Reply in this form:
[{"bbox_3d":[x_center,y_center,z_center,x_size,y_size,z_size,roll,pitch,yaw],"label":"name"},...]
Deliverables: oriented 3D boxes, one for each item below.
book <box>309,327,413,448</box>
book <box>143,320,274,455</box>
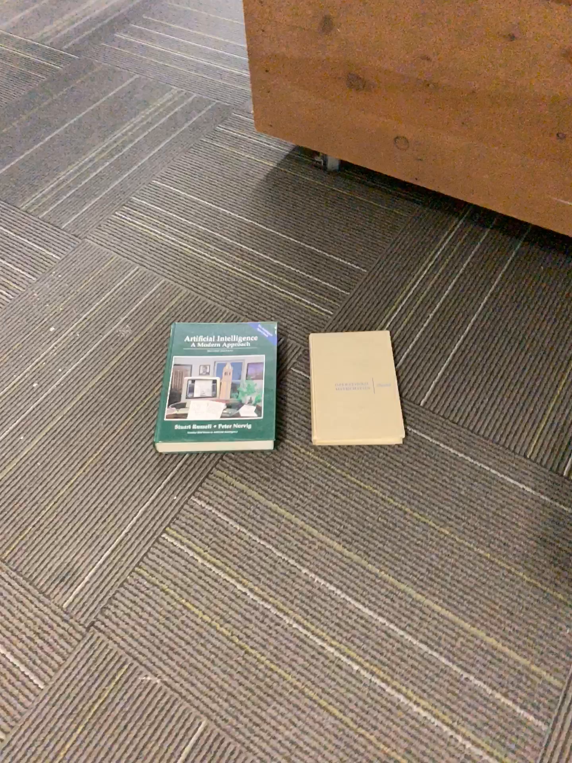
[{"bbox_3d":[0.130,0.006,1.070,0.170,0.030,0.241,-2,56,2],"label":"book"},{"bbox_3d":[-0.134,0.004,1.088,0.221,0.030,0.277,-2,56,2],"label":"book"}]
